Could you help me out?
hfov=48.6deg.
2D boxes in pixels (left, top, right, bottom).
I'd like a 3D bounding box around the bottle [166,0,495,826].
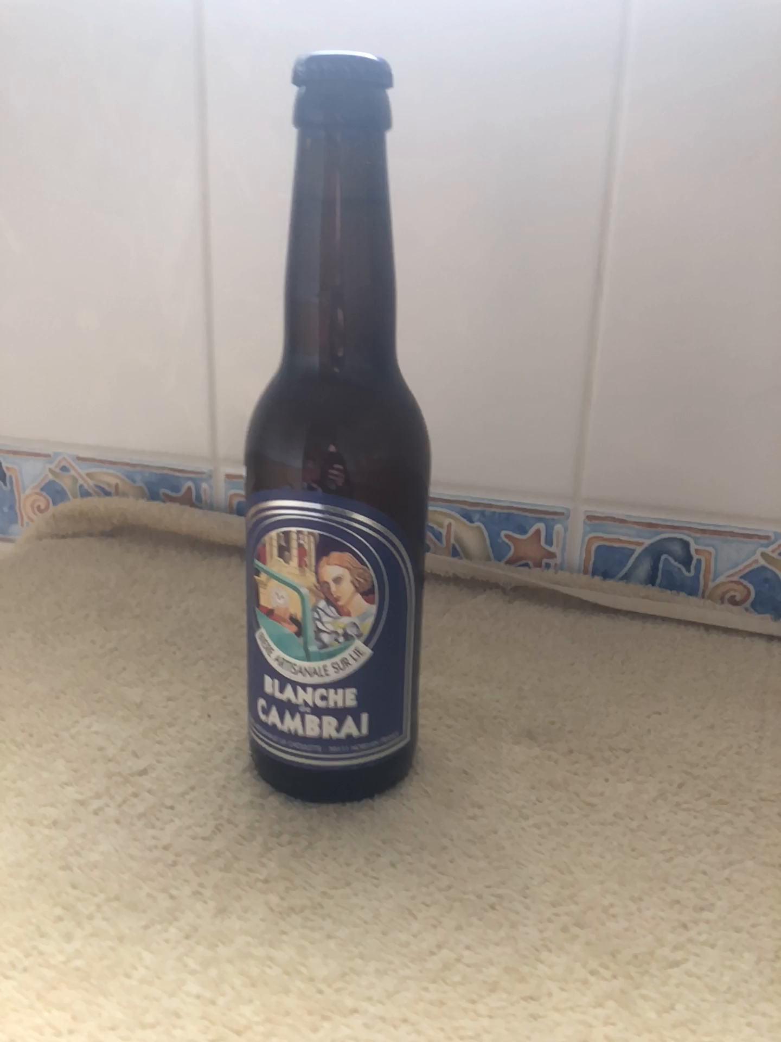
[{"bbox_3d":[-0.015,-0.027,0.267,0.070,0.219,0.070,2,18,-1],"label":"bottle"}]
